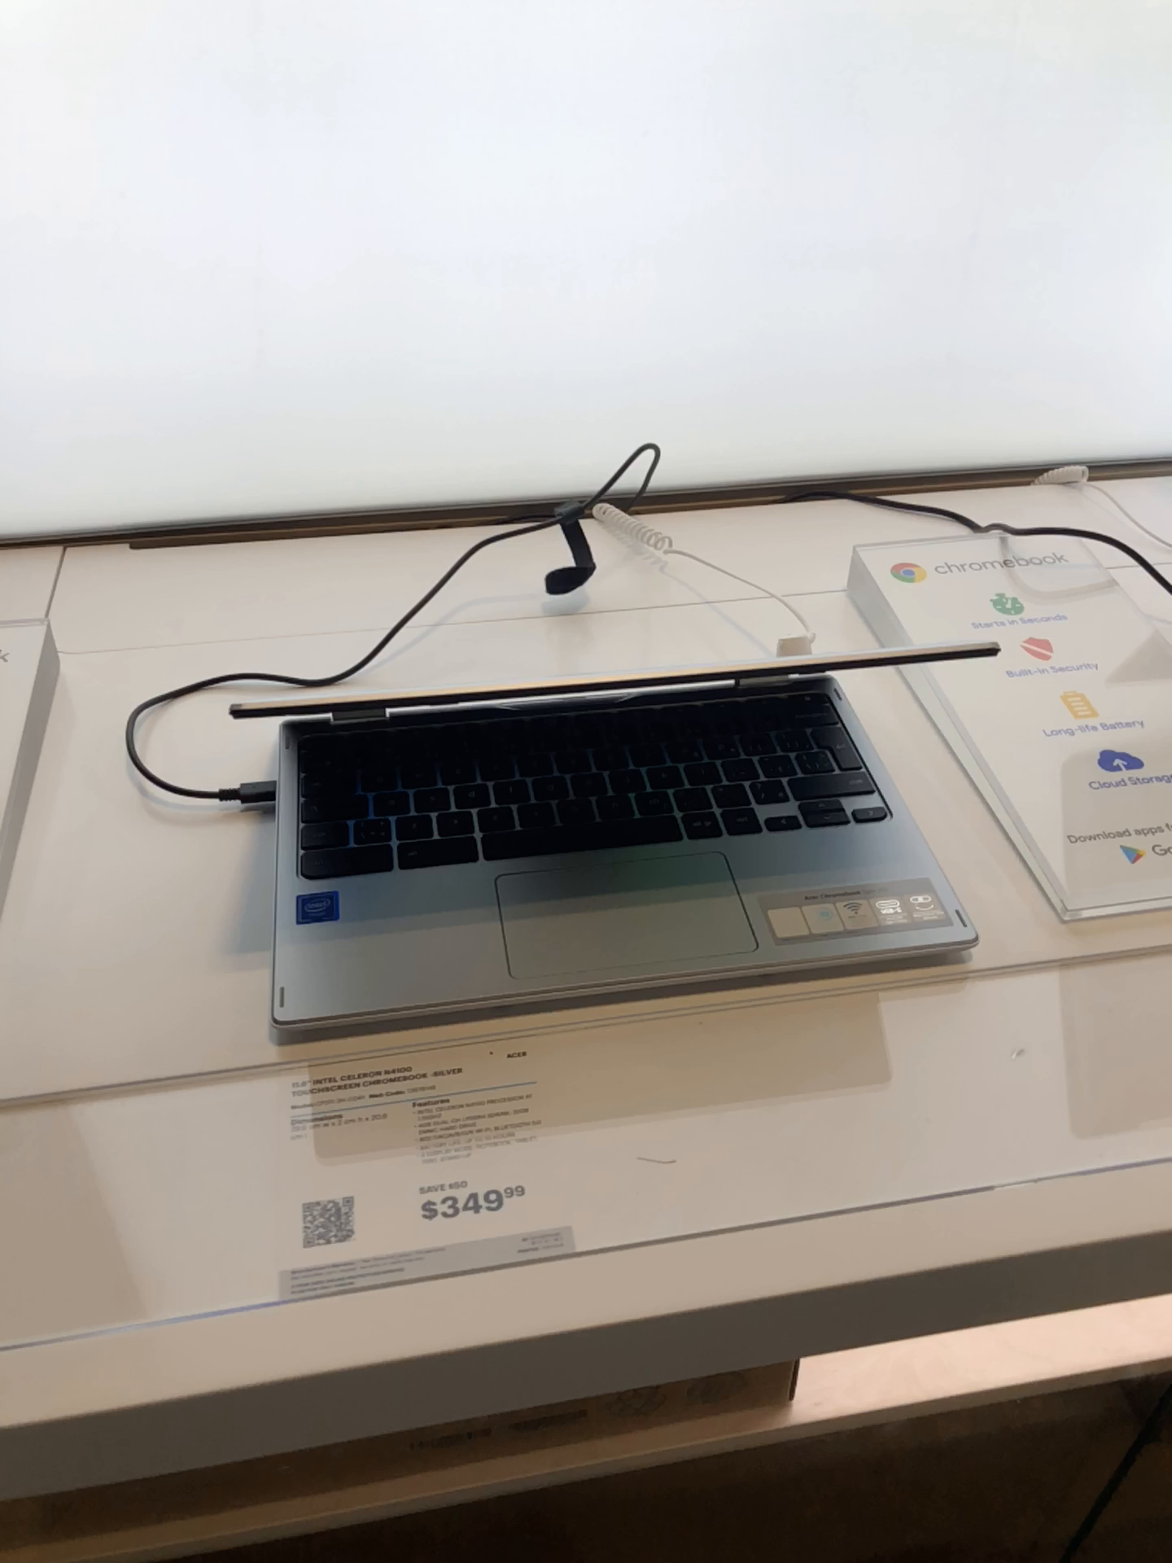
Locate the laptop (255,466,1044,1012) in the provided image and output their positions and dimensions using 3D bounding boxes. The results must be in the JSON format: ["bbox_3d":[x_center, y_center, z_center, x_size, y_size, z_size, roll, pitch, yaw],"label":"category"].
[{"bbox_3d":[0.011,-0.031,0.556,0.279,0.123,0.192,-5,39,-9],"label":"laptop"}]
